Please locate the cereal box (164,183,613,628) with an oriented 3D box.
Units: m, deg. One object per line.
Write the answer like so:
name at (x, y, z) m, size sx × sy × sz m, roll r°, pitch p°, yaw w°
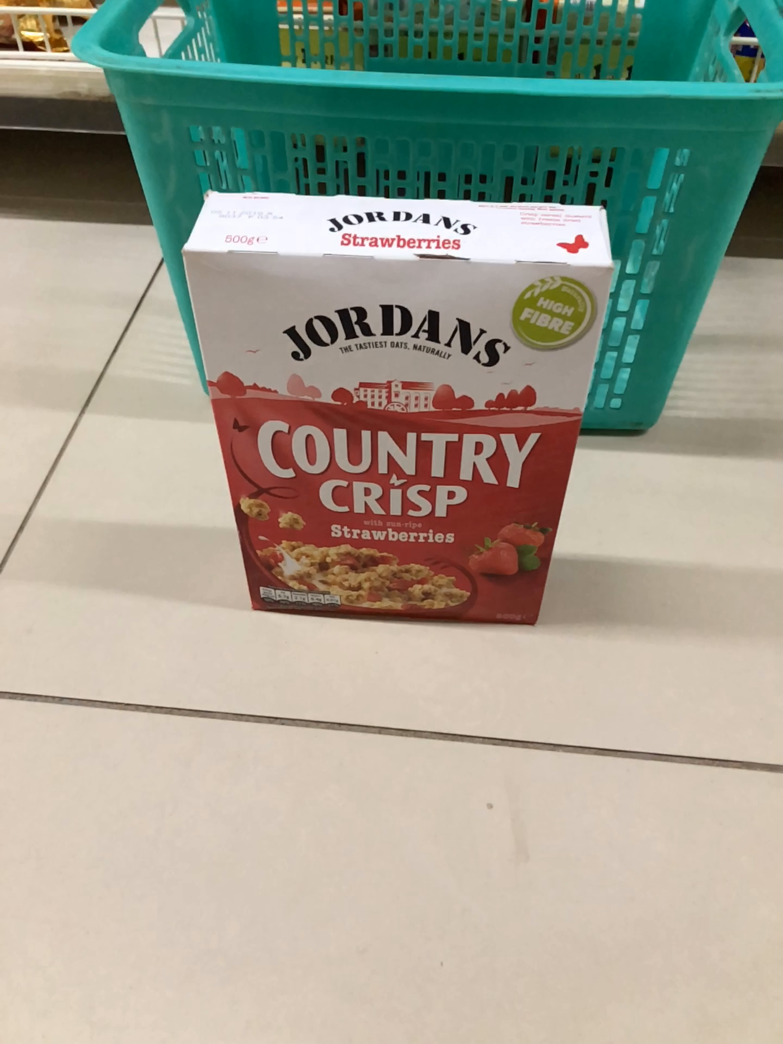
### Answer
cereal box at (0.000, -0.043, 0.453) m, size 0.180 × 0.248 × 0.050 m, roll 2°, pitch 46°, yaw 2°
